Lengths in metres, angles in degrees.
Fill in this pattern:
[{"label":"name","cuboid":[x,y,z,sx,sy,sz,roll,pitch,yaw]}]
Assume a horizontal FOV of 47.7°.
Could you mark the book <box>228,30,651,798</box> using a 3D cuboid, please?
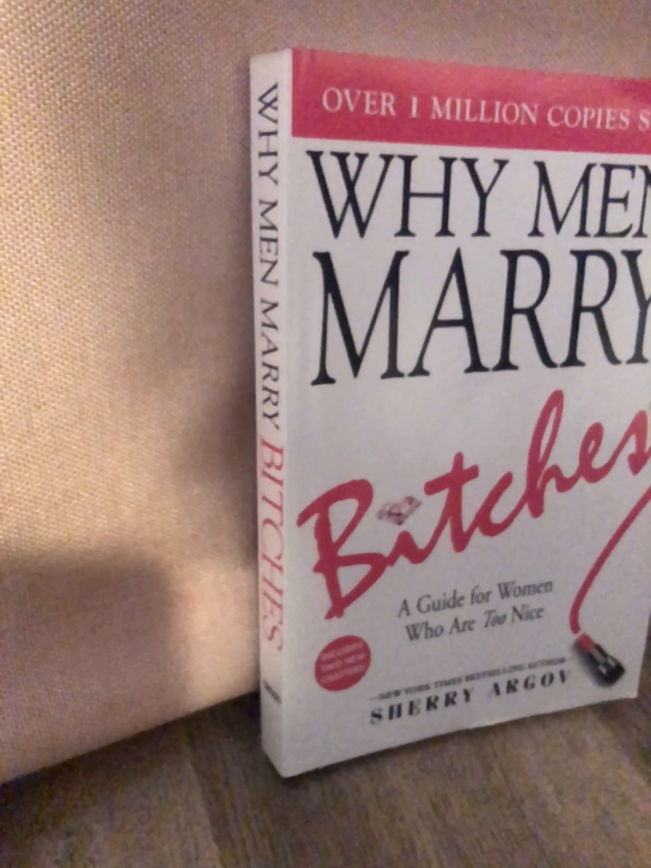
[{"label":"book","cuboid":[0.046,0.000,0.244,0.150,0.219,0.037,-4,19,-20]}]
